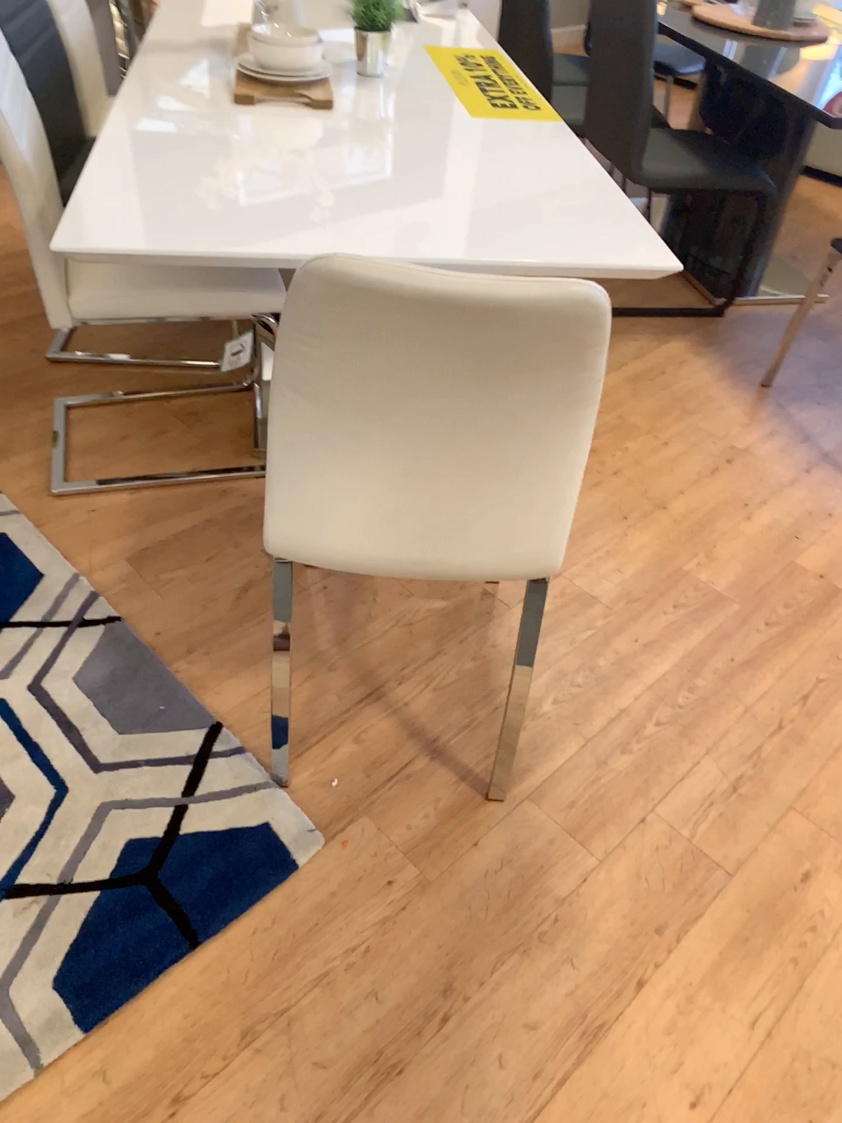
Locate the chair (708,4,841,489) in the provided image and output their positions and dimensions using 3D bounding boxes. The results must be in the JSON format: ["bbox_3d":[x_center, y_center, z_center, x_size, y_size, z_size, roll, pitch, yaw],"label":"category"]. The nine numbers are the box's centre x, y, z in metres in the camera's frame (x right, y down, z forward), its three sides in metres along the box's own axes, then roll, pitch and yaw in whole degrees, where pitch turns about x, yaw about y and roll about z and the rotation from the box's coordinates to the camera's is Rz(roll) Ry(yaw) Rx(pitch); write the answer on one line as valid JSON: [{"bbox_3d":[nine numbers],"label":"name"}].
[{"bbox_3d":[1.120,-0.679,1.924,0.515,0.863,0.554,-1,42,-8],"label":"chair"}]

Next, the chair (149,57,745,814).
[{"bbox_3d":[-0.003,-0.159,1.258,0.515,0.863,0.635,4,42,-2],"label":"chair"}]
